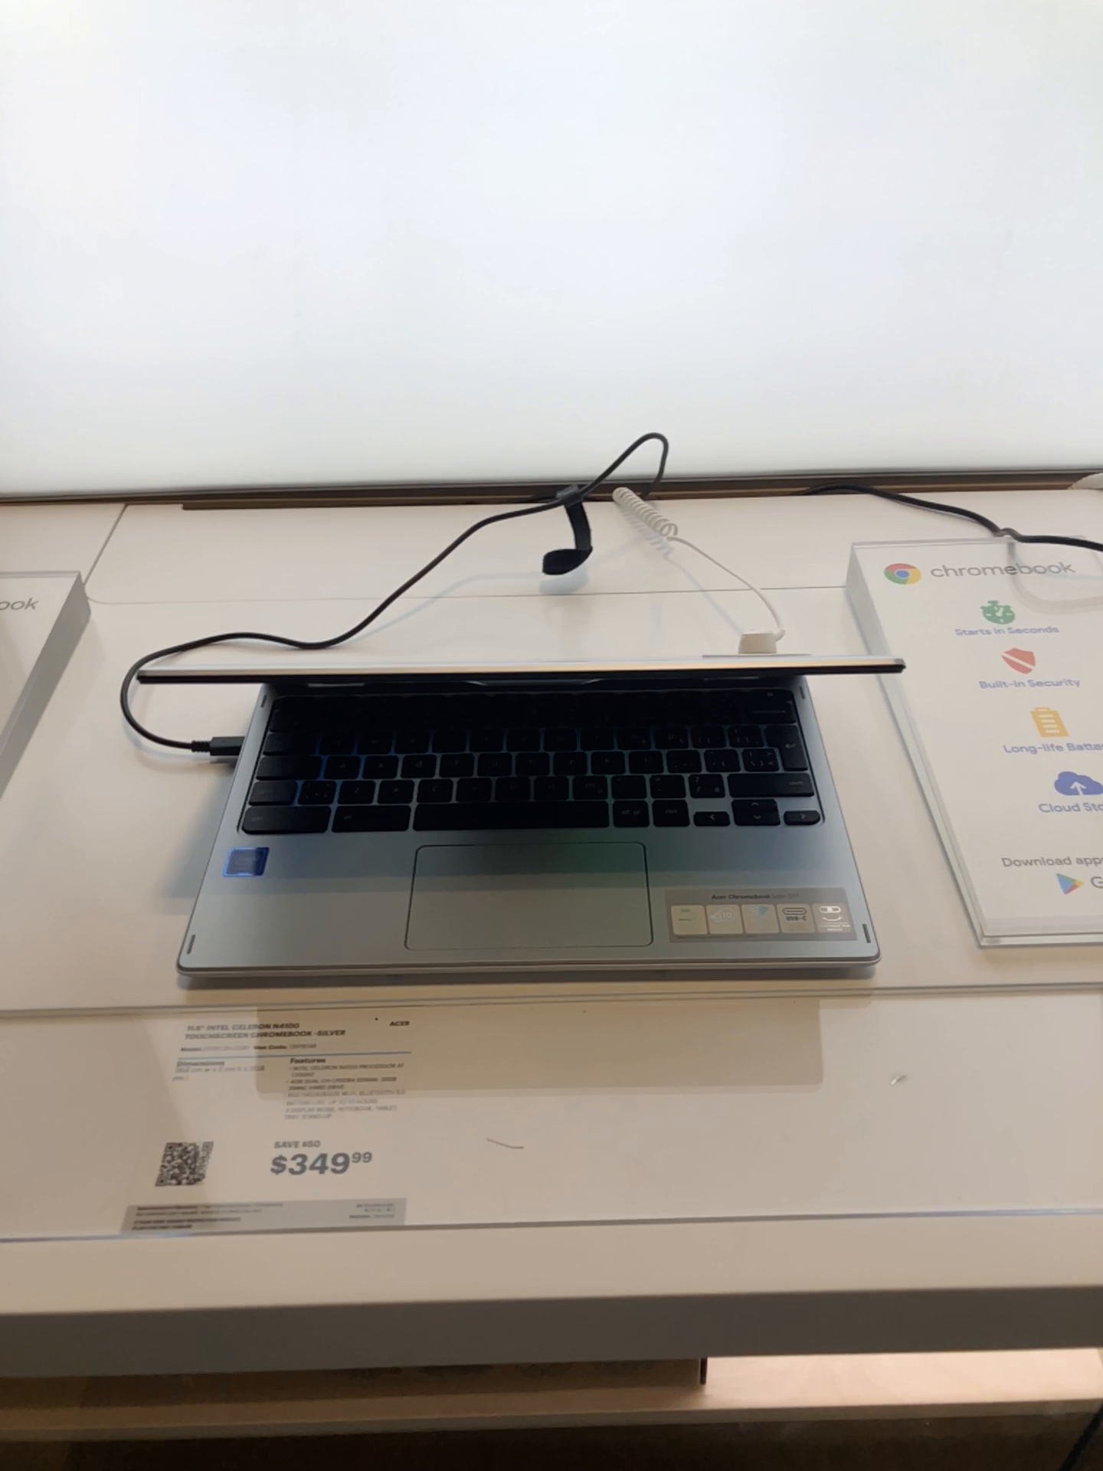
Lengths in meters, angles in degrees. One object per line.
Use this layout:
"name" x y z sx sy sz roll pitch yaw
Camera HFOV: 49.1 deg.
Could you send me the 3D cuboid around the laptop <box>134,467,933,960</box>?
"laptop" -0.006 -0.017 0.536 0.279 0.123 0.192 -1 39 0
